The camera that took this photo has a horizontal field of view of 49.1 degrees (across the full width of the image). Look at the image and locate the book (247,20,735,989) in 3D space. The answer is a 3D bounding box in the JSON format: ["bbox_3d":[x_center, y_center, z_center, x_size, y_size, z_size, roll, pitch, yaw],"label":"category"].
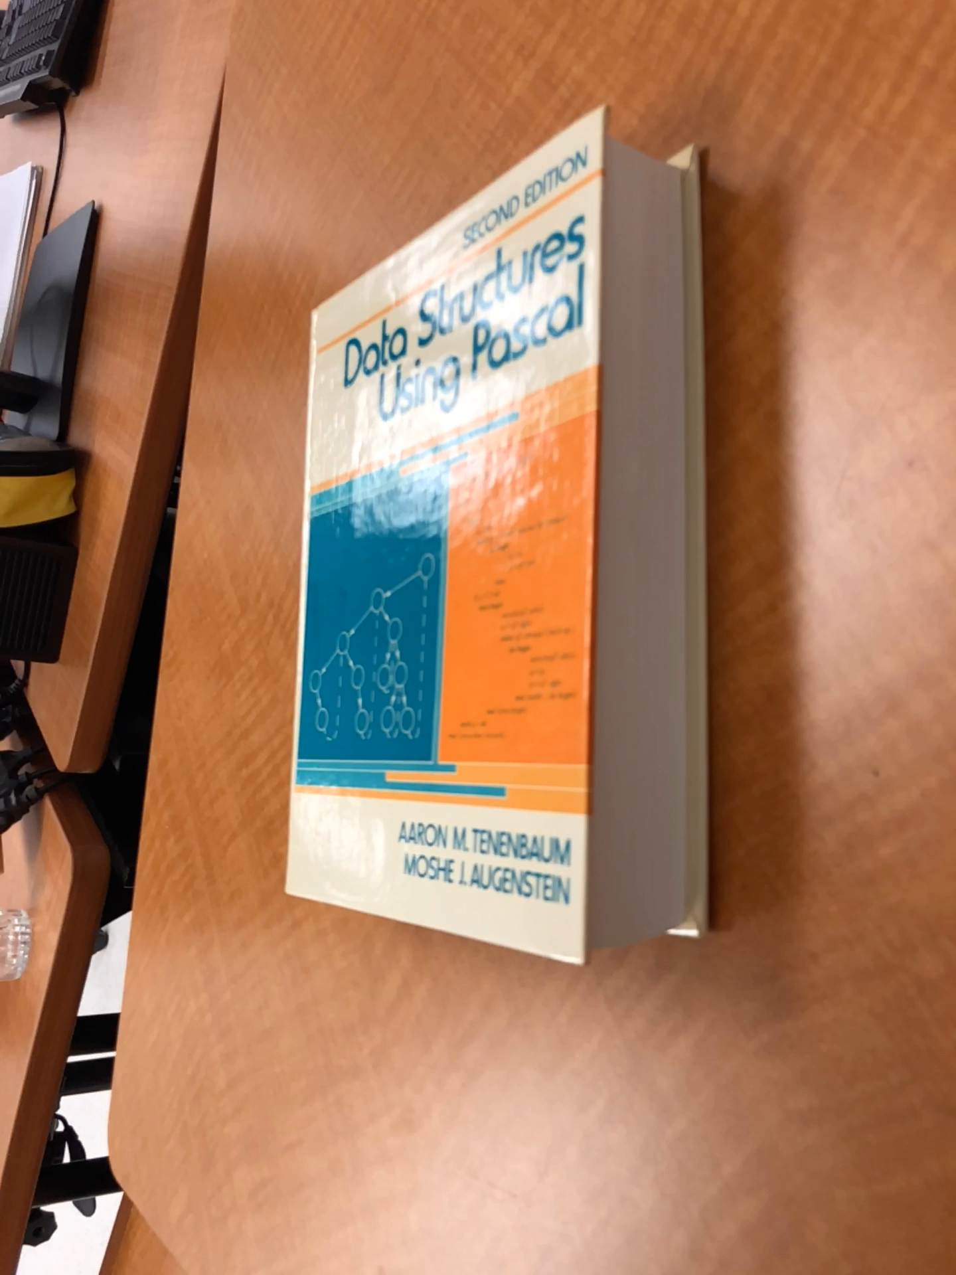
[{"bbox_3d":[-0.007,-0.031,0.367,0.201,0.050,0.260,-9,76,52],"label":"book"}]
